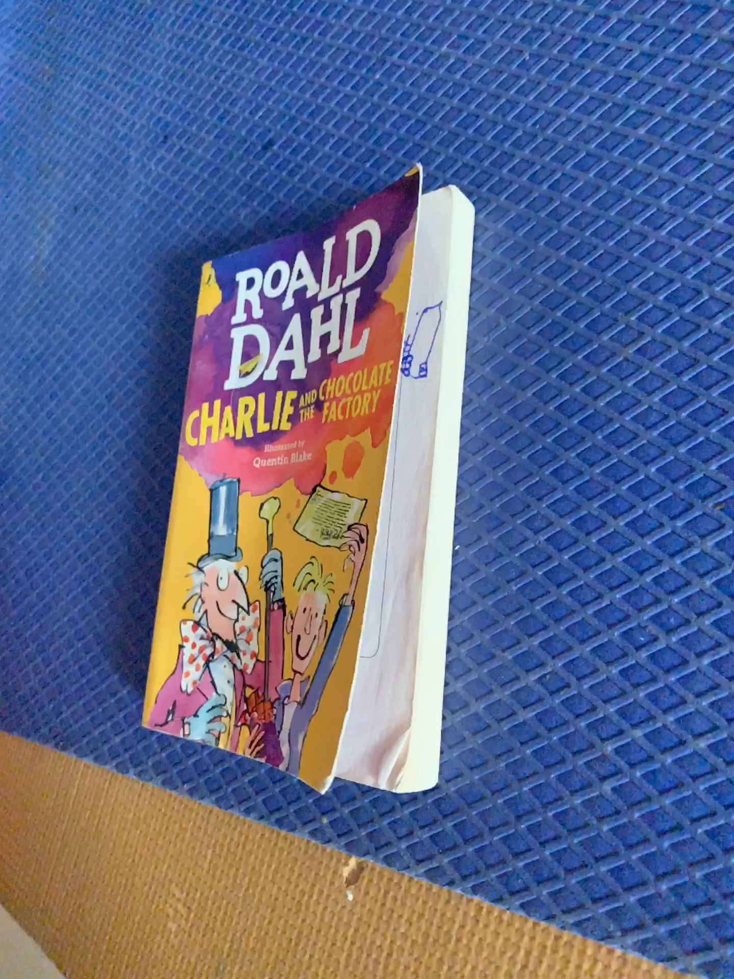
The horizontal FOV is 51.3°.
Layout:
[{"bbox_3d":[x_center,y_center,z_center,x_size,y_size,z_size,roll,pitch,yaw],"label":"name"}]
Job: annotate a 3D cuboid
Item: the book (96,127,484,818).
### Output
[{"bbox_3d":[-0.032,-0.010,0.276,0.141,0.020,0.210,-3,77,37],"label":"book"}]
